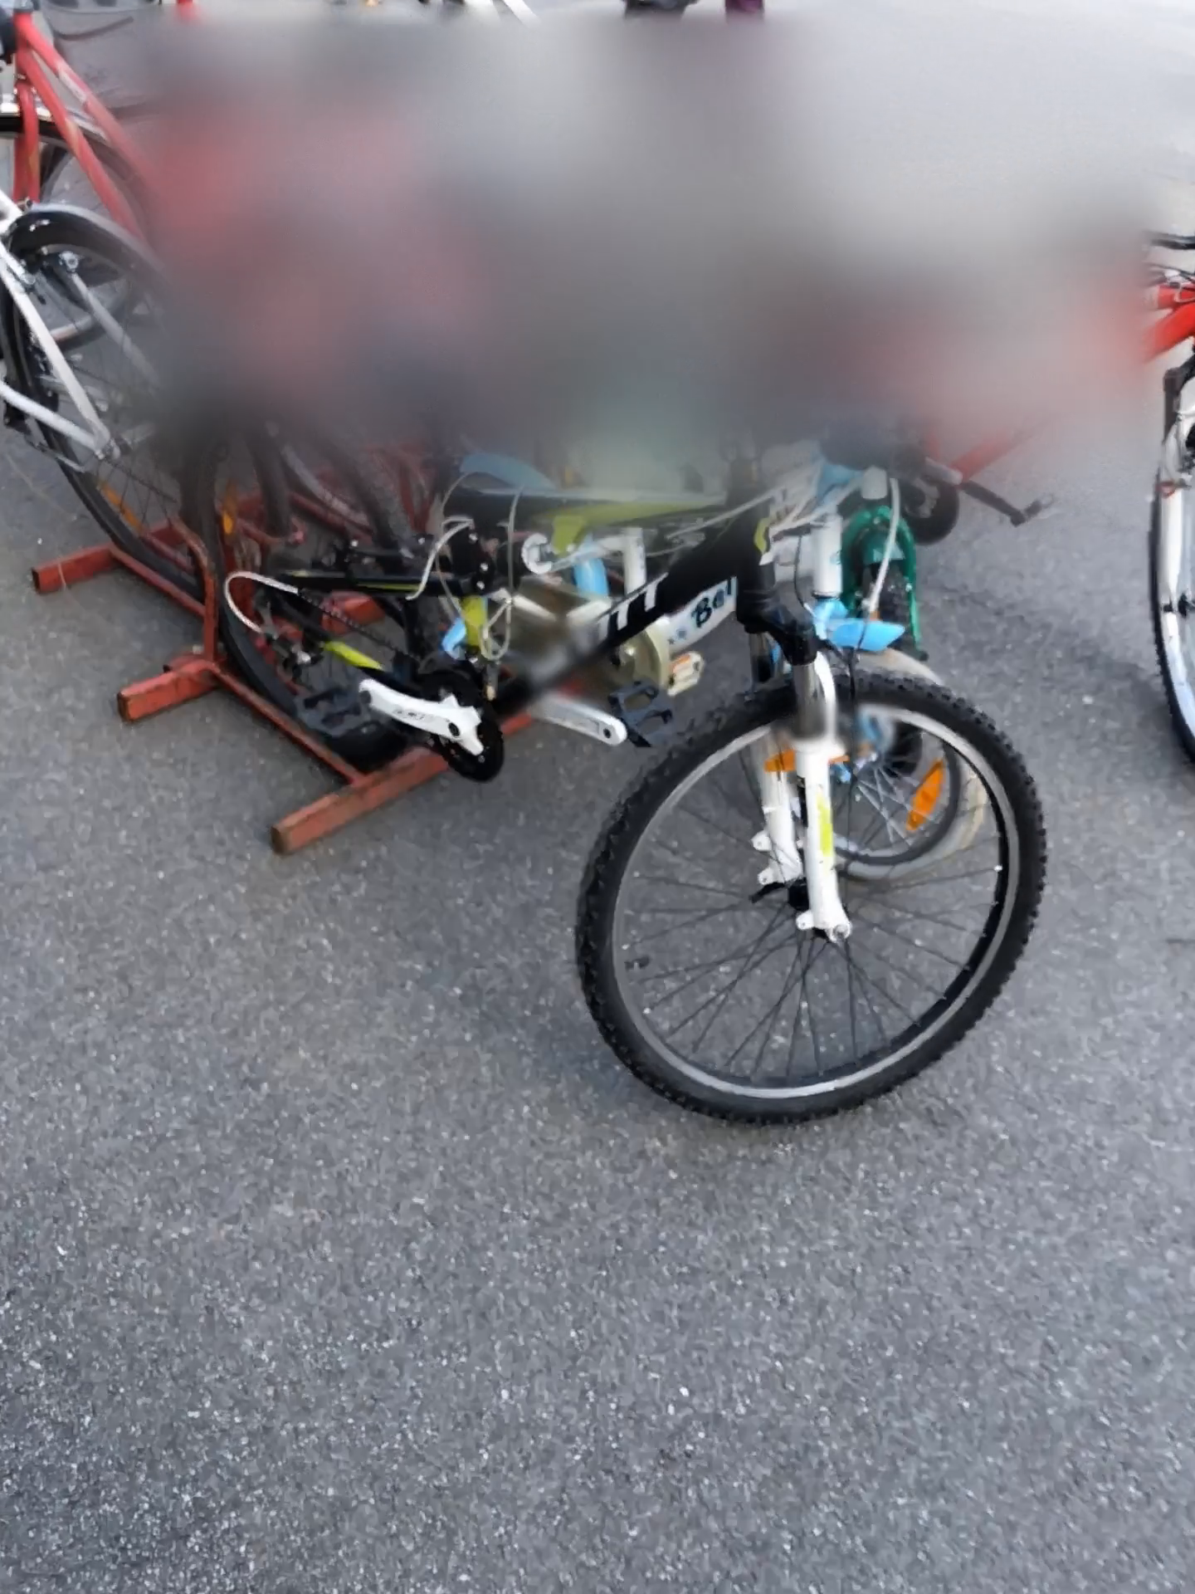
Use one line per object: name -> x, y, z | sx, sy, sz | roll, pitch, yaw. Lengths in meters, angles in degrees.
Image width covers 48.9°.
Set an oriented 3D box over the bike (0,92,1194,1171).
bike -> -0.060, -0.284, 1.717 | 1.374, 0.901, 0.530 | 26, 41, 23
